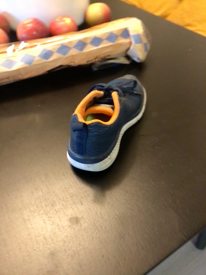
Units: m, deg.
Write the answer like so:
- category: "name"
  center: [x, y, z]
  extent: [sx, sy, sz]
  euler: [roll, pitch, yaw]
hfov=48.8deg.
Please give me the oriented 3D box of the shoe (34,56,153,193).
- category: "shoe"
  center: [0.001, -0.032, 0.323]
  extent: [0.084, 0.072, 0.187]
  euler: [17, 49, 17]
